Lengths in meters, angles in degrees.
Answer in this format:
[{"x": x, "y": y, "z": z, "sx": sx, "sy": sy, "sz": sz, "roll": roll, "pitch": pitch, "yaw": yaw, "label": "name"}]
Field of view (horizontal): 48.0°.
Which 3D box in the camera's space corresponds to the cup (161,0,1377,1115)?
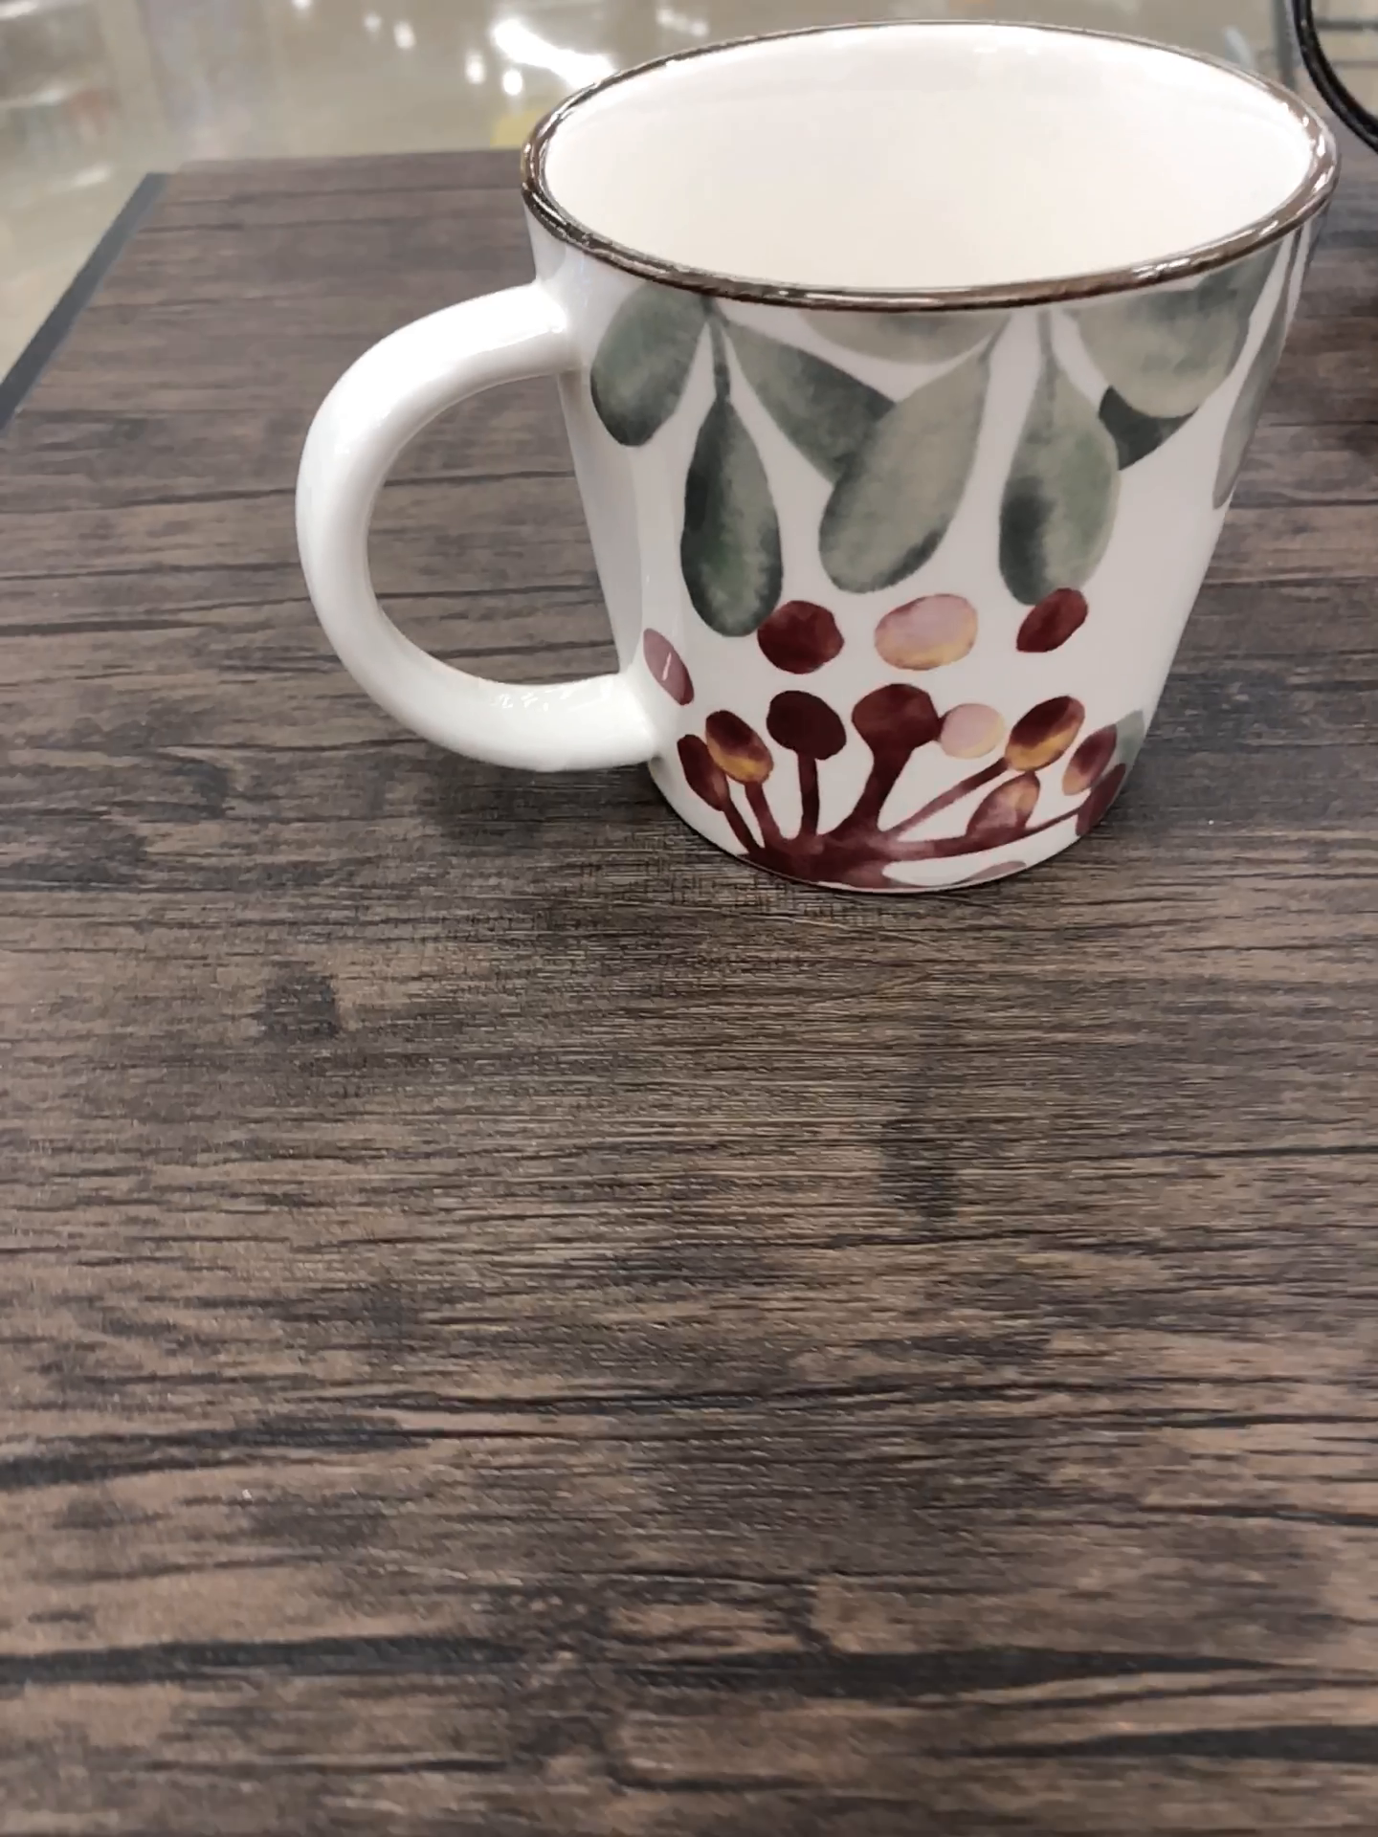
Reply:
[{"x": 0.018, "y": -0.065, "z": 0.234, "sx": 0.150, "sy": 0.110, "sz": 0.100, "roll": -17, "pitch": 46, "yaw": -14, "label": "cup"}]
